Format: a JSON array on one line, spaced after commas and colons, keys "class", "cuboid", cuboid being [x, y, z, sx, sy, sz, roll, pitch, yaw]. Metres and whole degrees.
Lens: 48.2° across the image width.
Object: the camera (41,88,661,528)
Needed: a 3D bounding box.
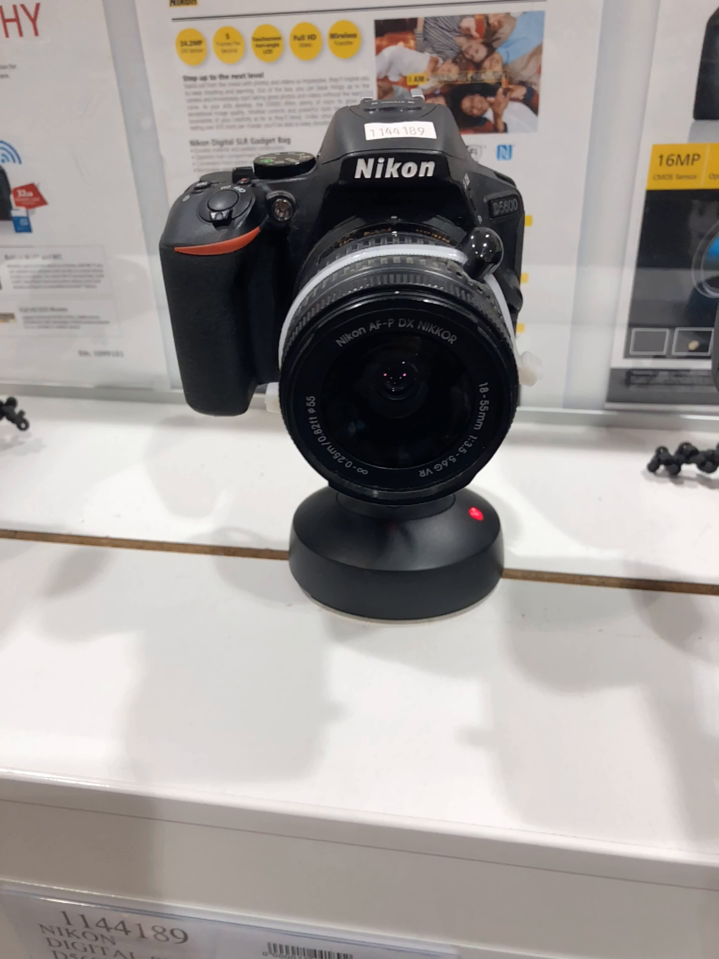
[{"class": "camera", "cuboid": [-0.001, -0.063, 0.252, 0.130, 0.090, 0.141, -1, 32, 1]}]
